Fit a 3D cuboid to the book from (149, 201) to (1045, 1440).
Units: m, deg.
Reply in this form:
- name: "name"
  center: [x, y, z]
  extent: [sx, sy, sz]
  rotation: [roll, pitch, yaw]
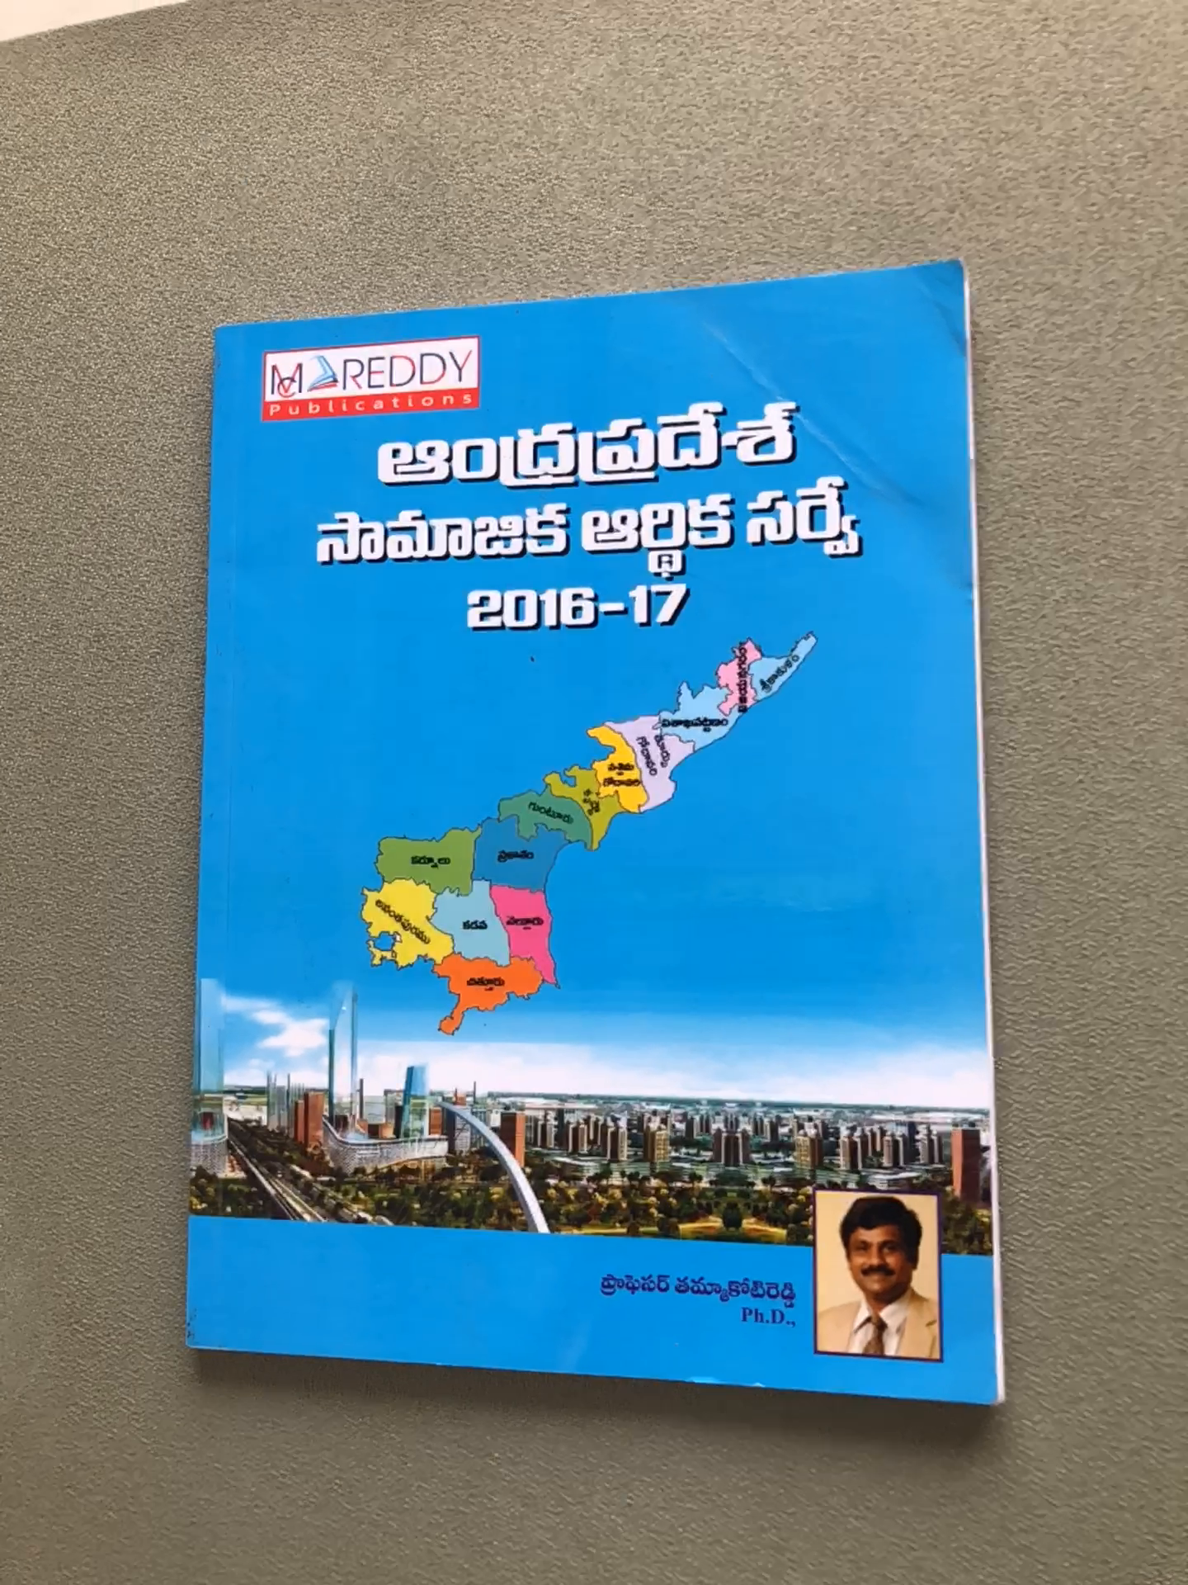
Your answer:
- name: "book"
  center: [-0.003, 0.002, 0.279]
  extent: [0.180, 0.020, 0.240]
  rotation: [-1, 85, 10]
